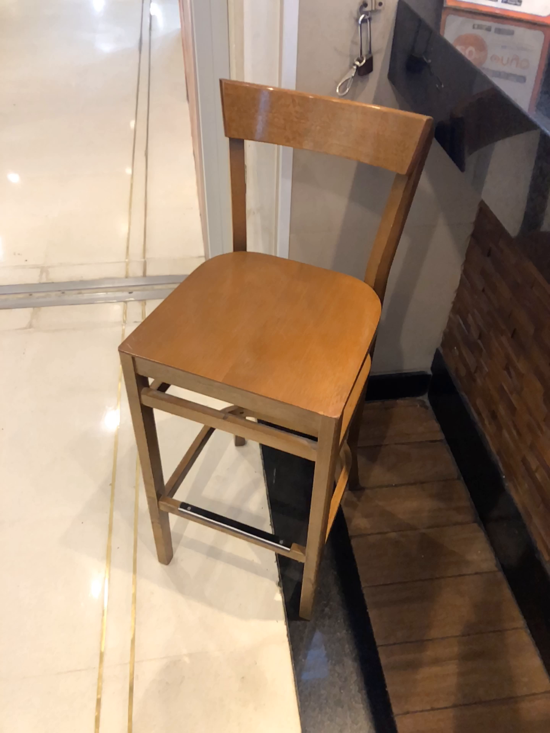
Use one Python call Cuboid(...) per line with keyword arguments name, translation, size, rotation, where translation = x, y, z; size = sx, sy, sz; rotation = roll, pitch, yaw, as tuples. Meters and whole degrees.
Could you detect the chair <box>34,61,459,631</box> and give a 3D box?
Cuboid(name="chair", translation=(-0.011, 0.008, 1.258), size=(0.480, 0.993, 0.533), rotation=(15, 46, 13))
